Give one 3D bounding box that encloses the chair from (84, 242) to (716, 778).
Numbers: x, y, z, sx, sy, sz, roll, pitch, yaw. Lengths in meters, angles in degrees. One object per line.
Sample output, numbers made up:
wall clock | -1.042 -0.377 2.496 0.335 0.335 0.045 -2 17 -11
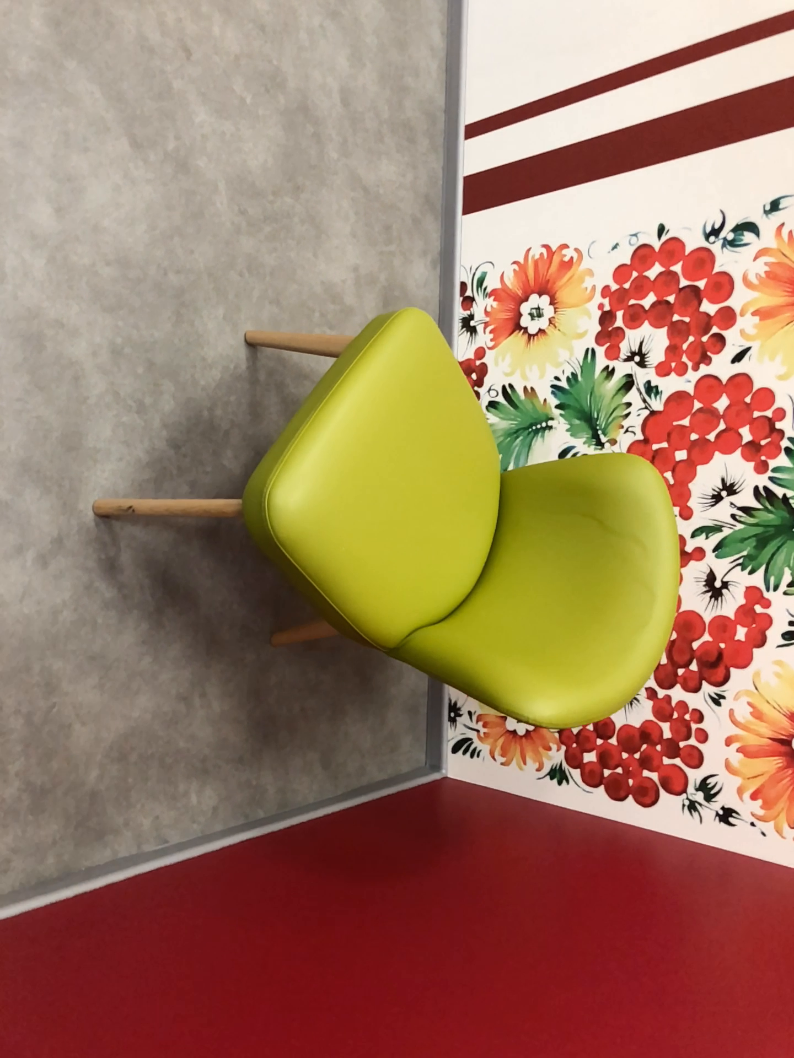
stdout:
chair | 0.019 -0.028 1.501 0.522 0.776 0.571 -57 130 -31
